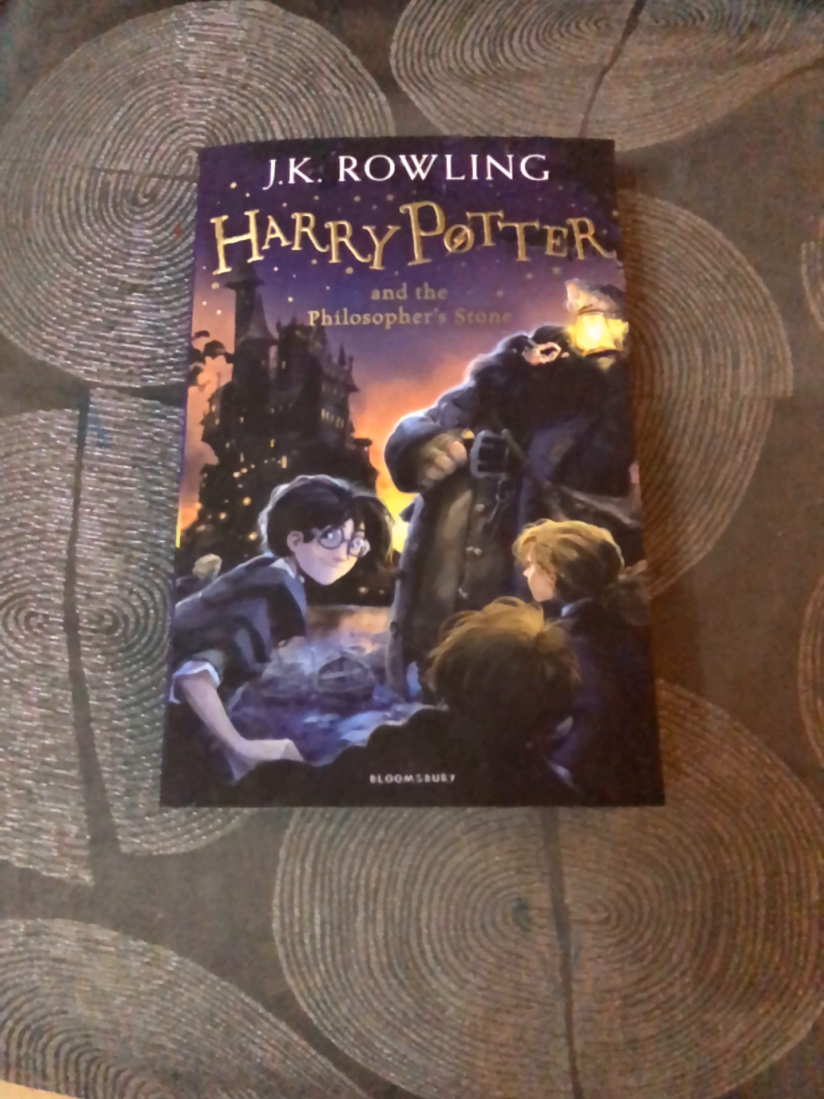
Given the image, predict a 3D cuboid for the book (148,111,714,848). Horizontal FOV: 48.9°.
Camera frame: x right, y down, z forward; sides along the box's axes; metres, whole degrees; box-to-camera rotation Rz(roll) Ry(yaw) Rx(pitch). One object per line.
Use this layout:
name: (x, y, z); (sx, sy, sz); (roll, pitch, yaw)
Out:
book: (0.002, -0.025, 0.270); (0.140, 0.040, 0.210); (0, 74, -6)
